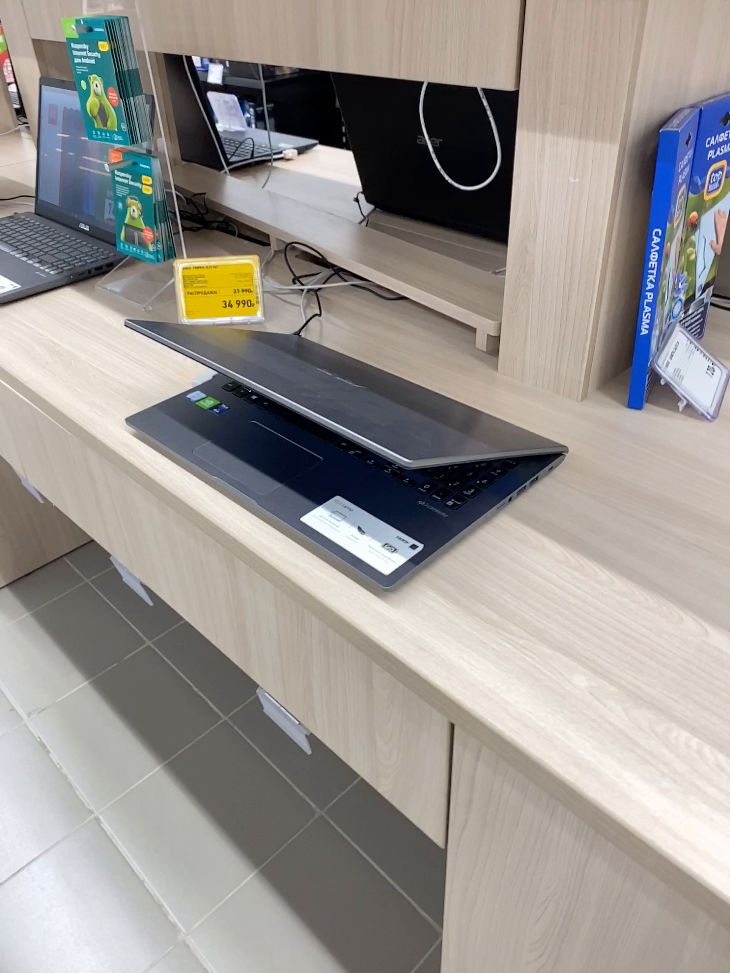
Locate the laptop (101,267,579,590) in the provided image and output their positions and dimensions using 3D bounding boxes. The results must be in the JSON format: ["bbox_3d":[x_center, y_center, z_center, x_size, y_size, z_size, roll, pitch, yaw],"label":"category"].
[{"bbox_3d":[-0.031,-0.084,0.671,0.354,0.088,0.236,28,45,35],"label":"laptop"}]
